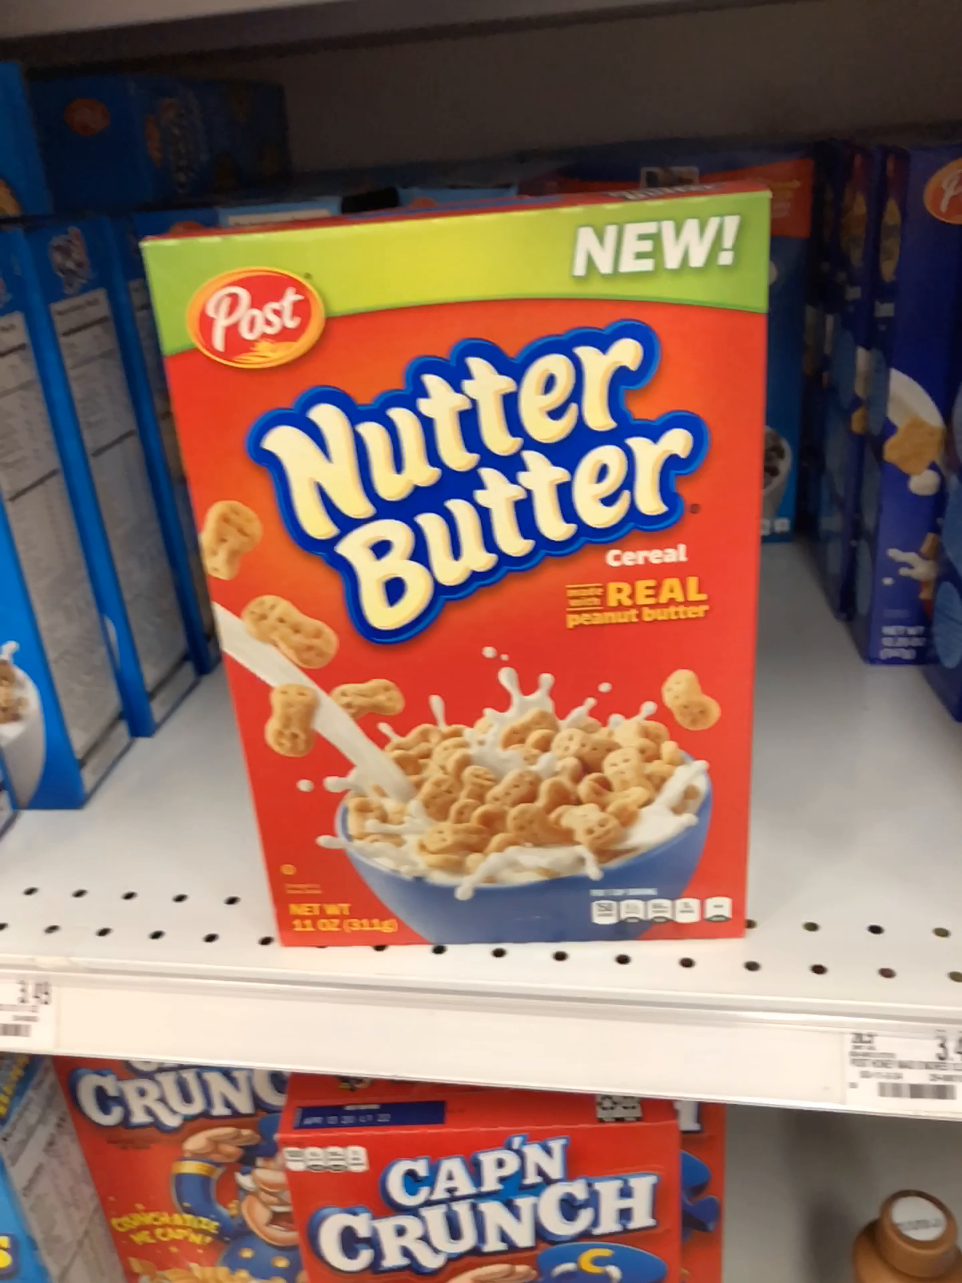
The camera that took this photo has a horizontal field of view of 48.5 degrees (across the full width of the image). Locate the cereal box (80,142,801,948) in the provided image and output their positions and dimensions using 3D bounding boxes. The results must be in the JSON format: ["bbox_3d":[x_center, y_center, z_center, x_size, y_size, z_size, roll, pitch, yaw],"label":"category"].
[{"bbox_3d":[-0.001,-0.021,0.381,0.200,0.269,0.070,-2,25,6],"label":"cereal box"}]
